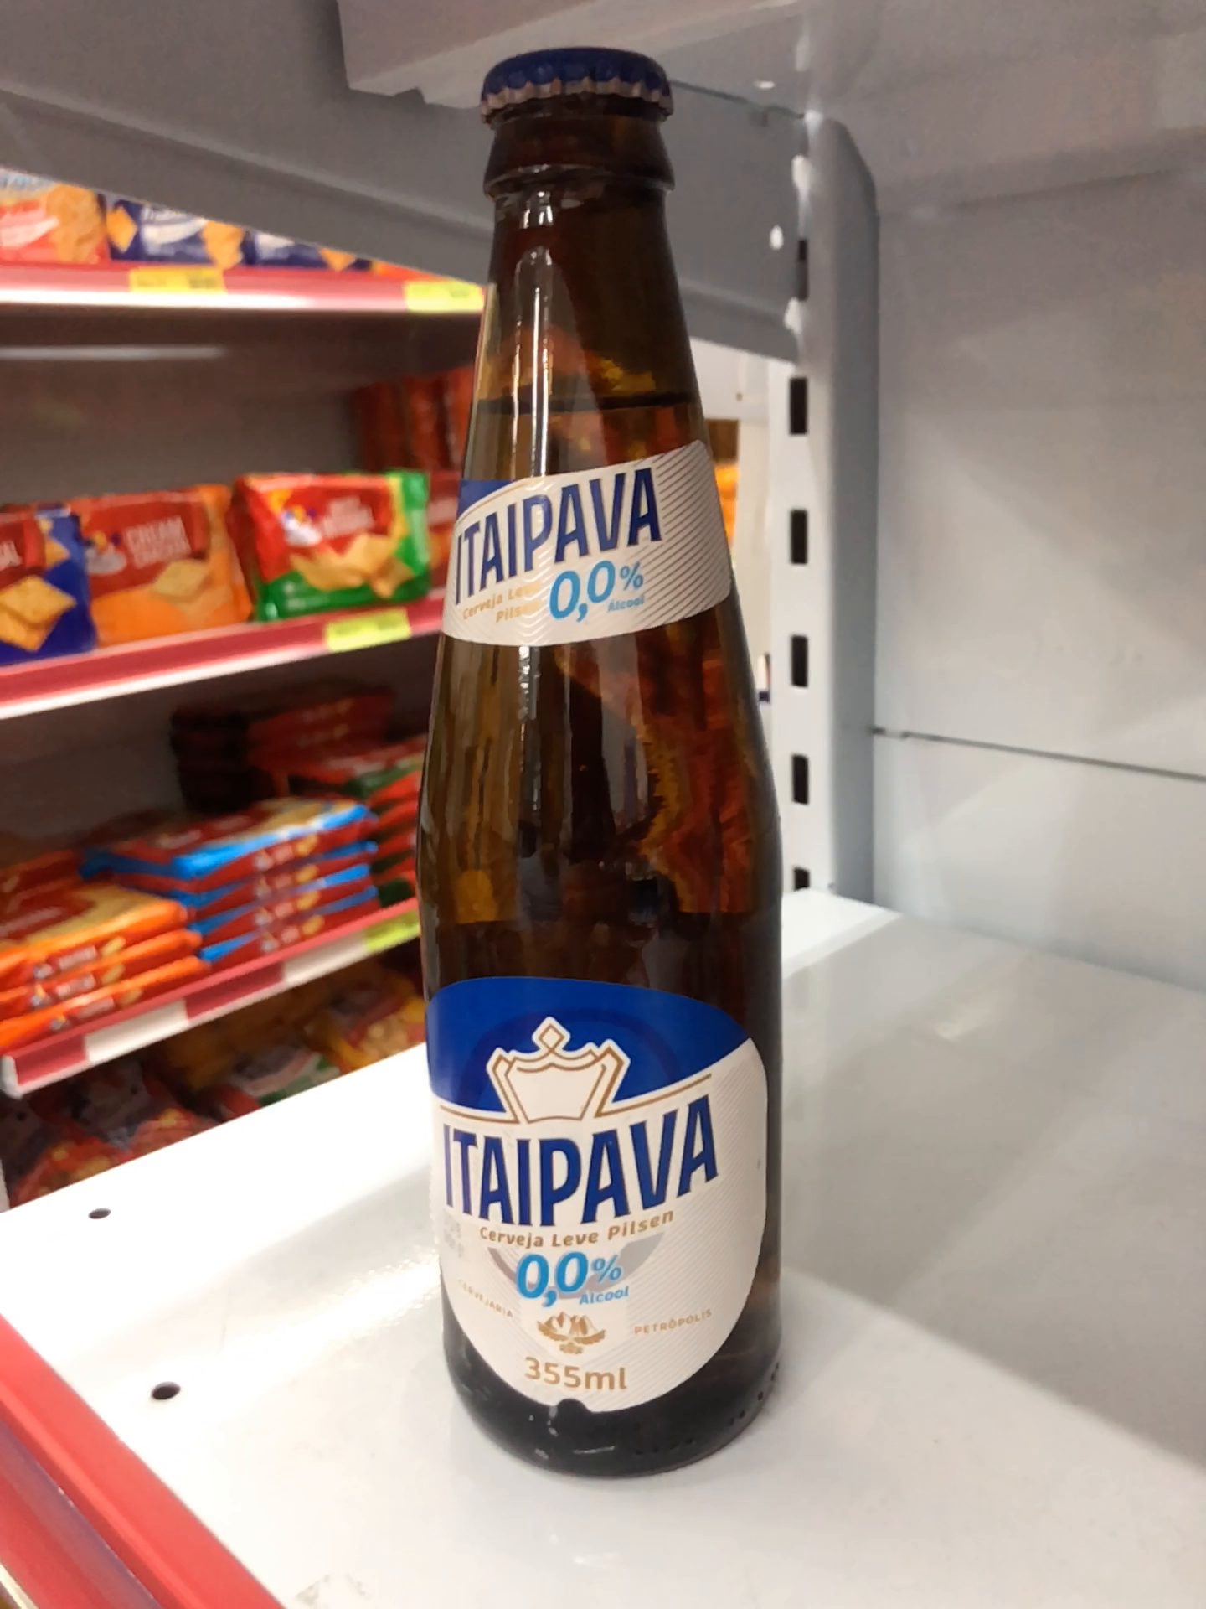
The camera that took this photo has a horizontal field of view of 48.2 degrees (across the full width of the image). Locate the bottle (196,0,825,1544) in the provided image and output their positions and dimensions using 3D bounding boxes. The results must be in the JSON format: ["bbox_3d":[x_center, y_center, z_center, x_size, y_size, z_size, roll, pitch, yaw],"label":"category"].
[{"bbox_3d":[-0.003,-0.006,0.198,0.060,0.209,0.060,-3,15,1],"label":"bottle"}]
